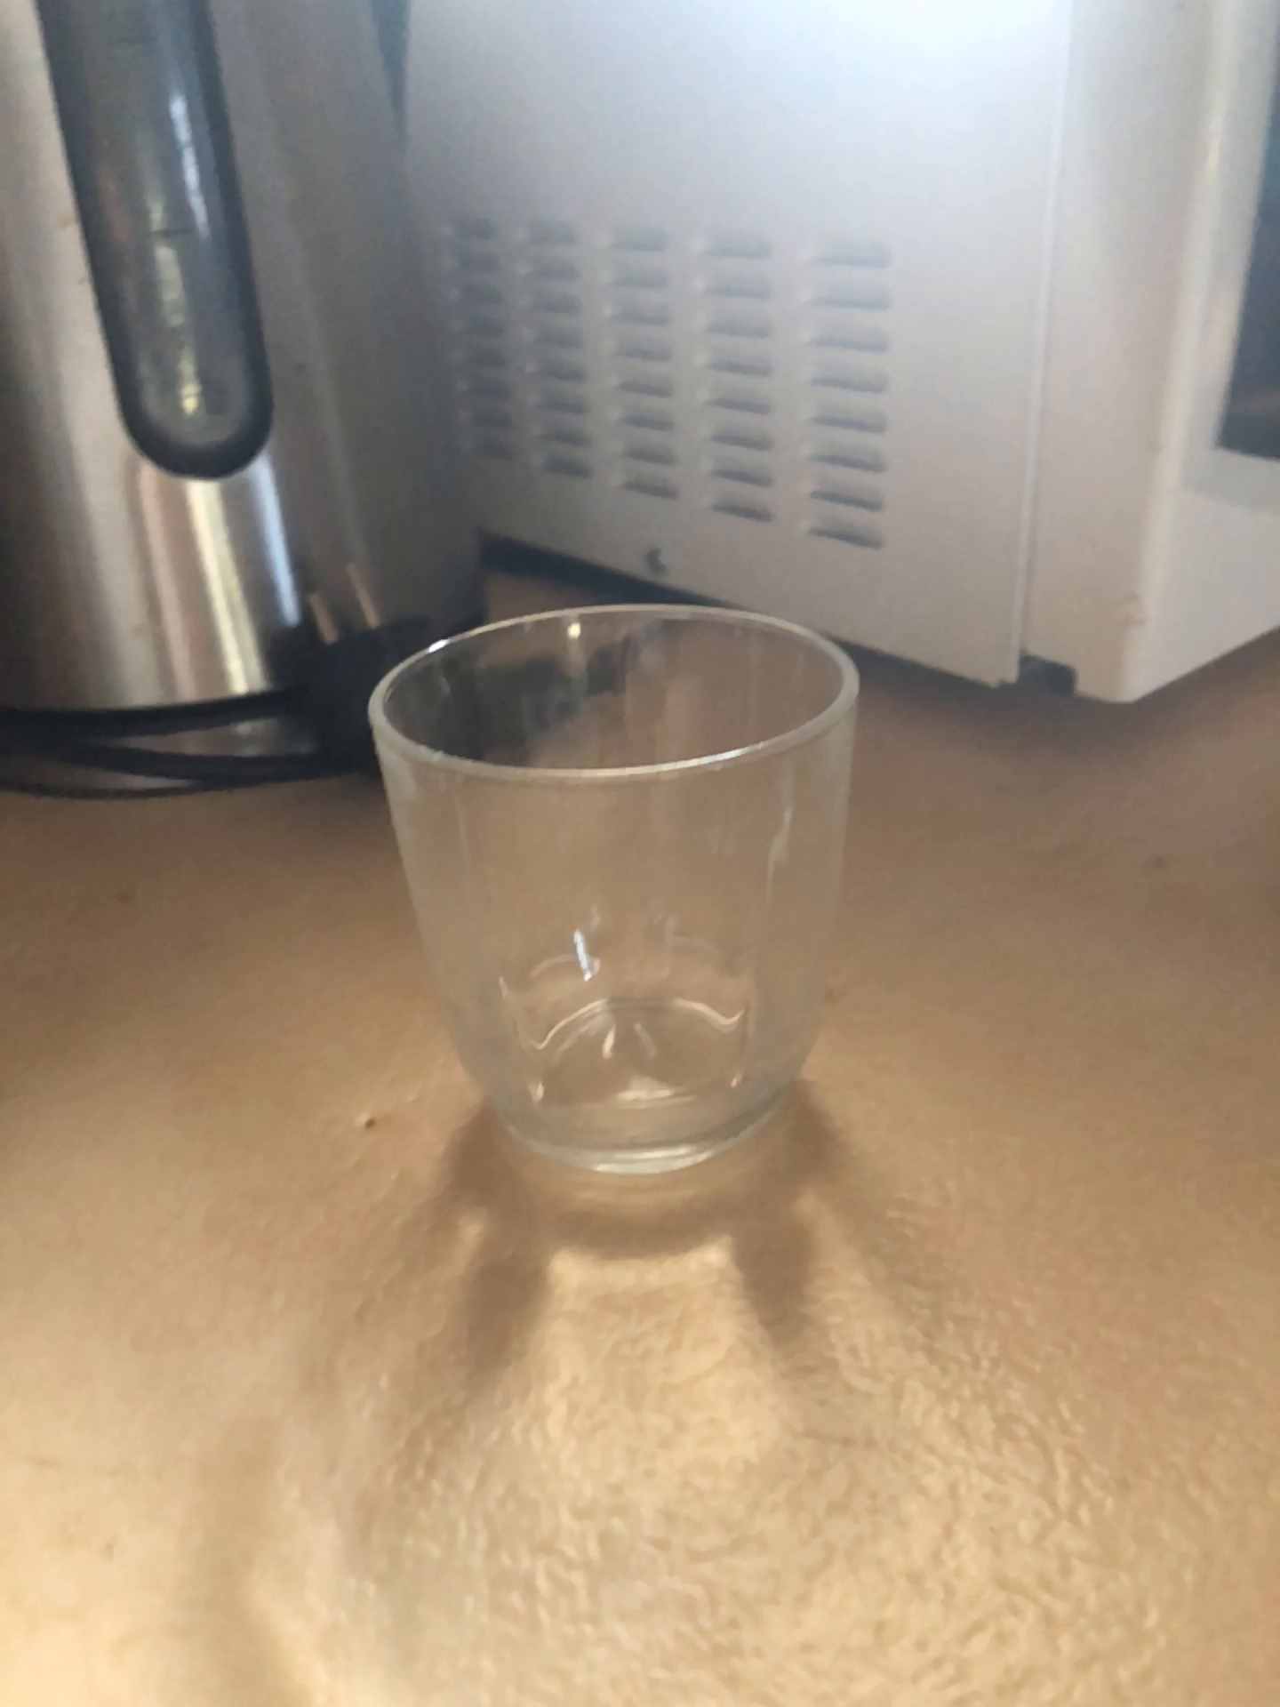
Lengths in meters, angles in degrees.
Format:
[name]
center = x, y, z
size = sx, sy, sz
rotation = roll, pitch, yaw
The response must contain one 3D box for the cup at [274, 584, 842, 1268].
[cup]
center = -0.005, 0.008, 0.223
size = 0.070, 0.080, 0.070
rotation = -2, 27, 1
